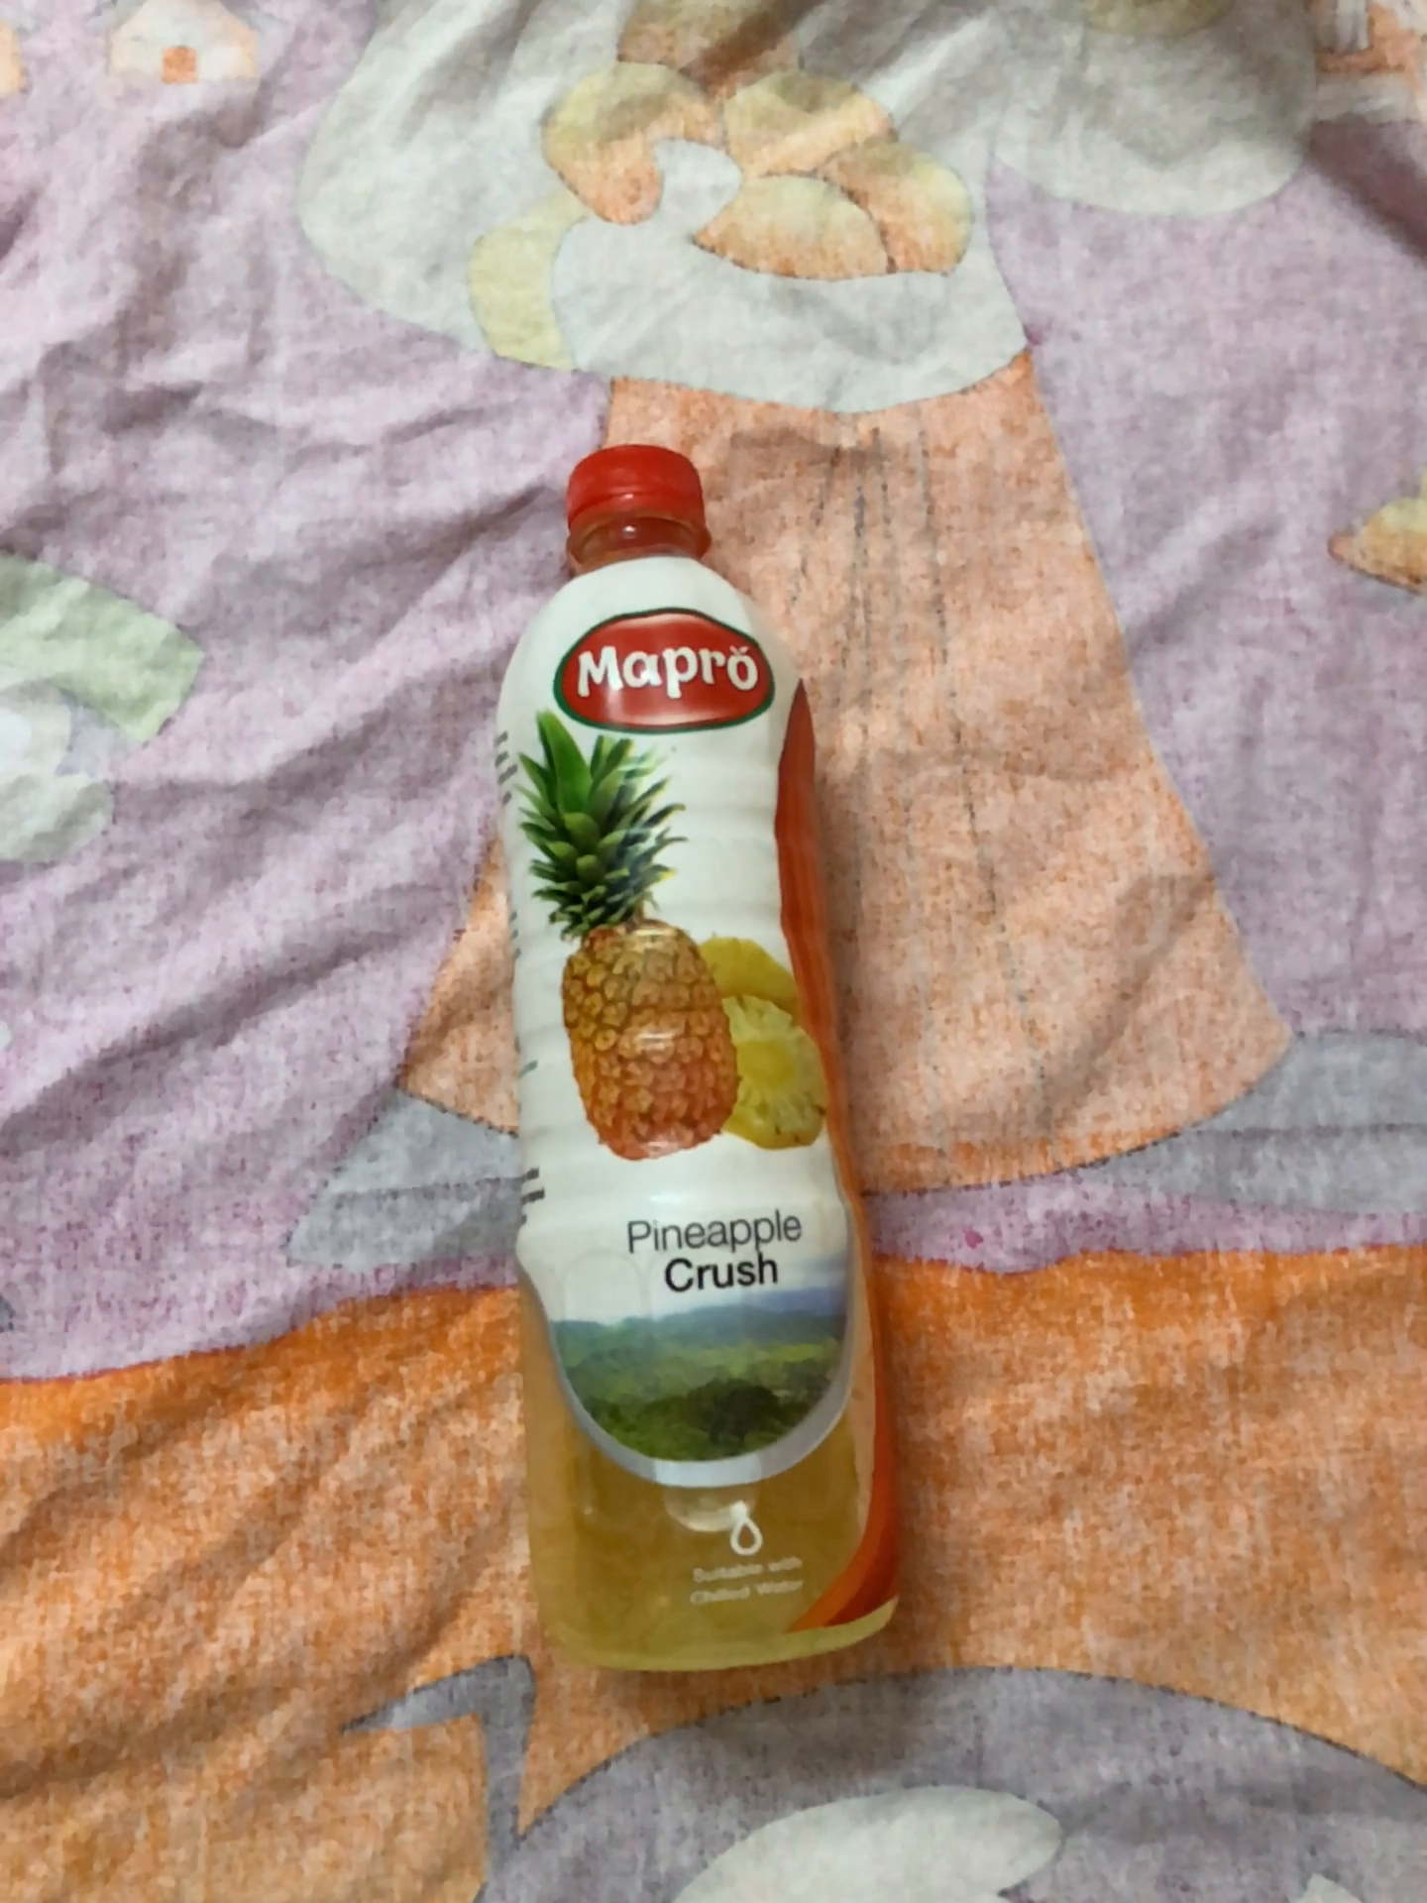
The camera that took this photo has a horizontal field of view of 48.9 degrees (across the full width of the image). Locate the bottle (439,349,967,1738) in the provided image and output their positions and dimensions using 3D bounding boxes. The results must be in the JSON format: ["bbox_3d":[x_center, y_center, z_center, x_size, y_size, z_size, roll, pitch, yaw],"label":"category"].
[{"bbox_3d":[-0.009,0.010,0.316,0.080,0.060,0.250,-3,80,-9],"label":"bottle"}]
